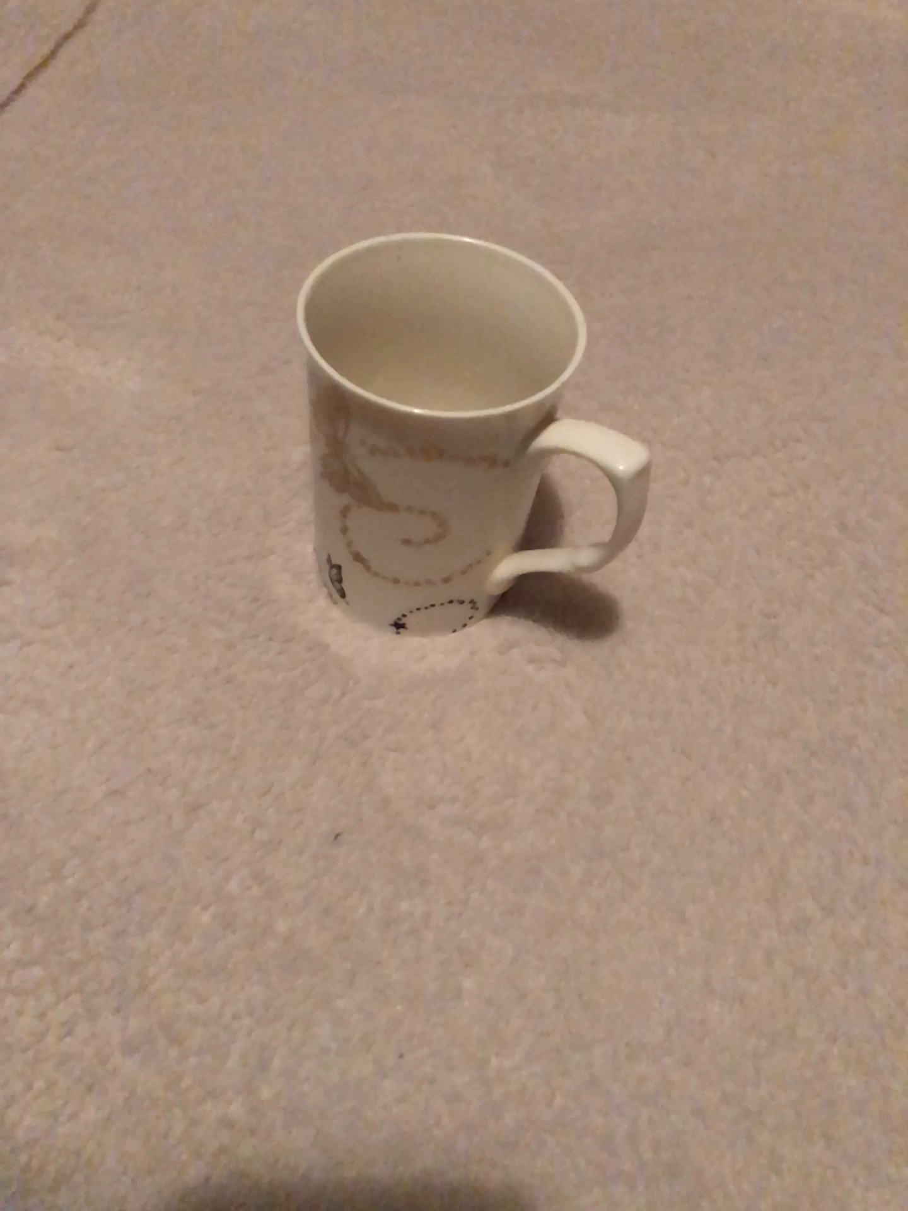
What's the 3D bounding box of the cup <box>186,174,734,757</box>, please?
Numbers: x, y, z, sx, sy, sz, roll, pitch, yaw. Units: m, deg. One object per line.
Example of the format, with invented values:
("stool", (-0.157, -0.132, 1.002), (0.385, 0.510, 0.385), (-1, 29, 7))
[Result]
("cup", (-0.001, -0.038, 0.289), (0.112, 0.110, 0.074), (28, 56, 17))
